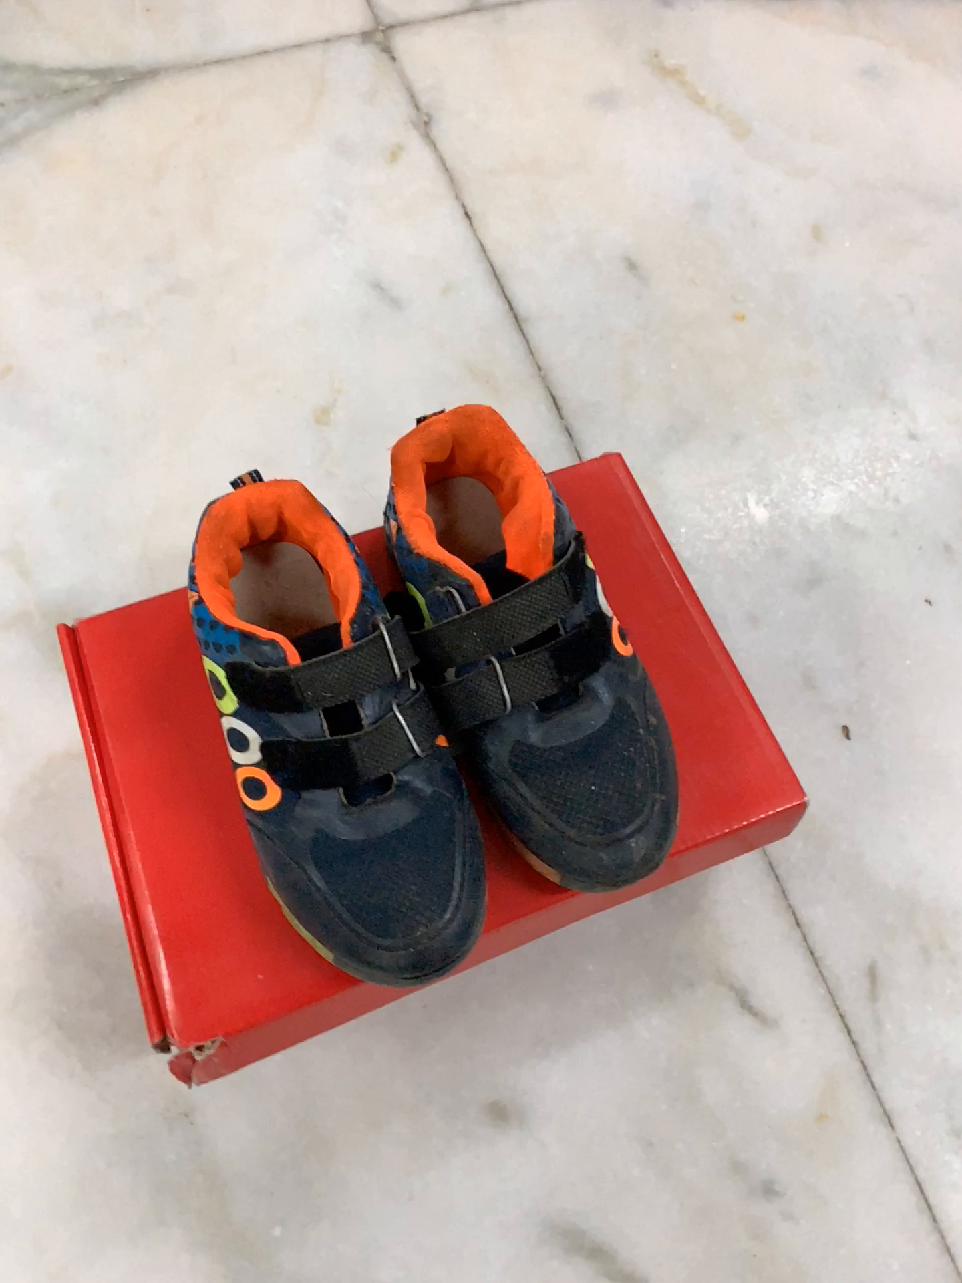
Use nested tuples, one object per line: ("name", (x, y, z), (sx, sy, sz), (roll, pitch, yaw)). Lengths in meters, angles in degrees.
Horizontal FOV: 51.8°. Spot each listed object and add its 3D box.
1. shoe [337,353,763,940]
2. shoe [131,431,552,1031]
("shoe", (0.017, -0.001, 0.402), (0.080, 0.080, 0.211), (-19, 68, -11))
("shoe", (-0.060, 0.035, 0.406), (0.090, 0.090, 0.211), (-20, 68, -11))
